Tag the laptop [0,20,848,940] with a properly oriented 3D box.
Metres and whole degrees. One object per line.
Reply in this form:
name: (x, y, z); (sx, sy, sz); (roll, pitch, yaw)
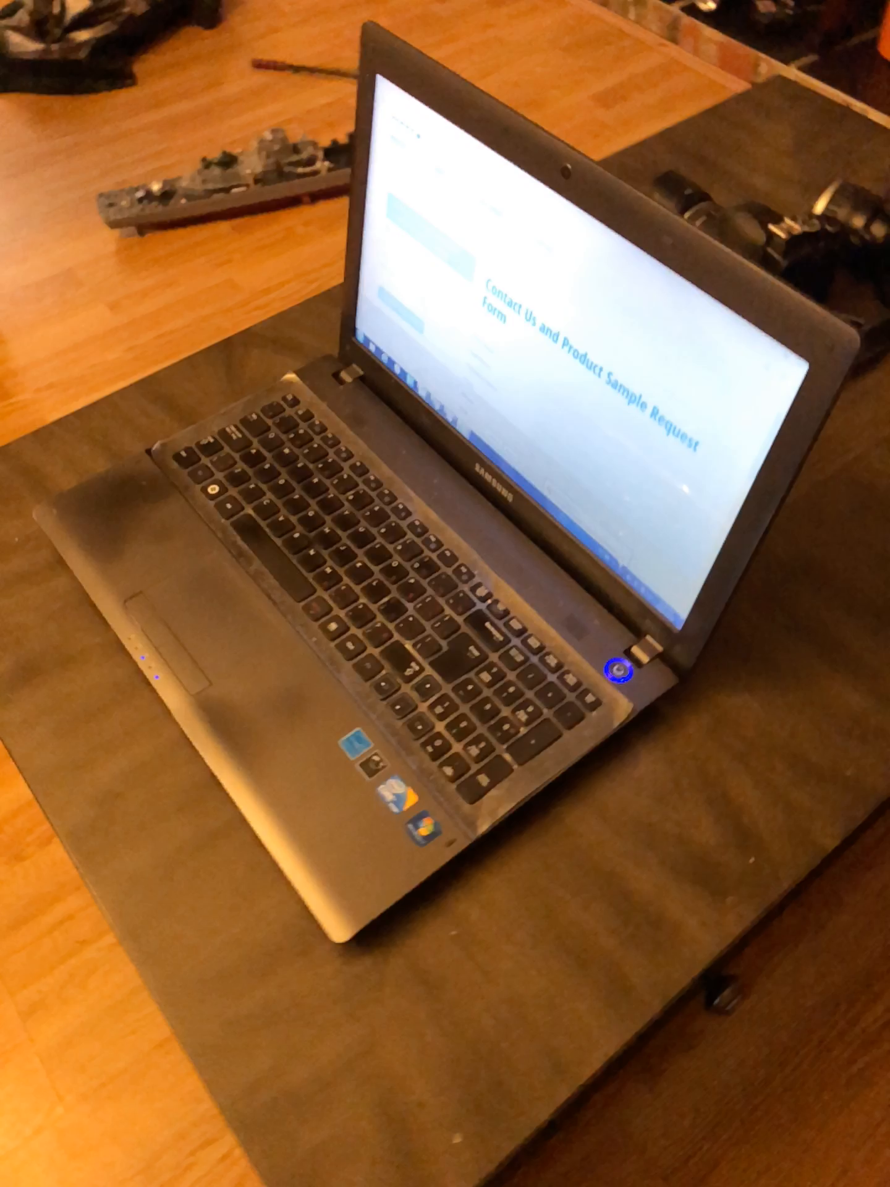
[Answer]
laptop: (-0.052, -0.087, 0.555); (0.308, 0.231, 0.368); (-33, 61, -22)
